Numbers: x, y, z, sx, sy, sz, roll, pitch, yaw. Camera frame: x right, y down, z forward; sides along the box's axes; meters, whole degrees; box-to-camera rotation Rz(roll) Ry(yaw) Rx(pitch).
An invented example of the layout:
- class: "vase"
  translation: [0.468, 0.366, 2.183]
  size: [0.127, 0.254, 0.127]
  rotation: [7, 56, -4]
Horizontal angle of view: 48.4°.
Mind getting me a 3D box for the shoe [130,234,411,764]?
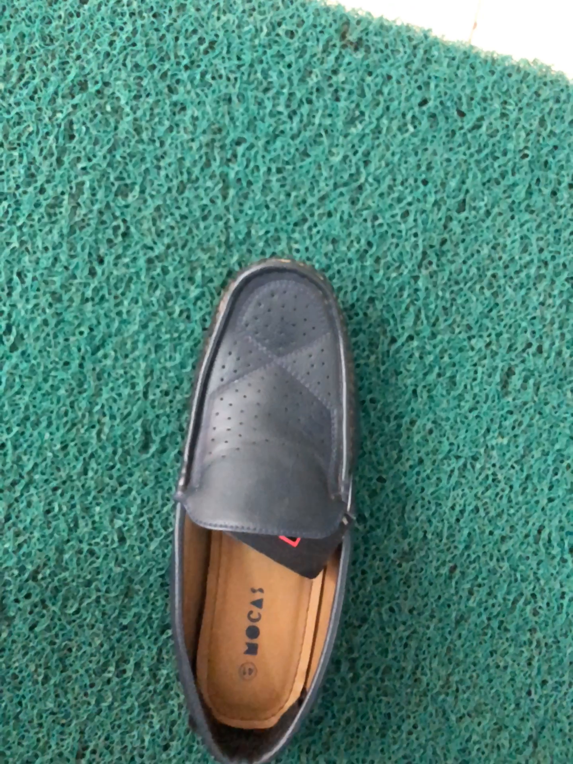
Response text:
- class: "shoe"
  translation: [-0.009, 0.074, 0.346]
  size: [0.100, 0.070, 0.280]
  rotation: [8, 89, -5]
